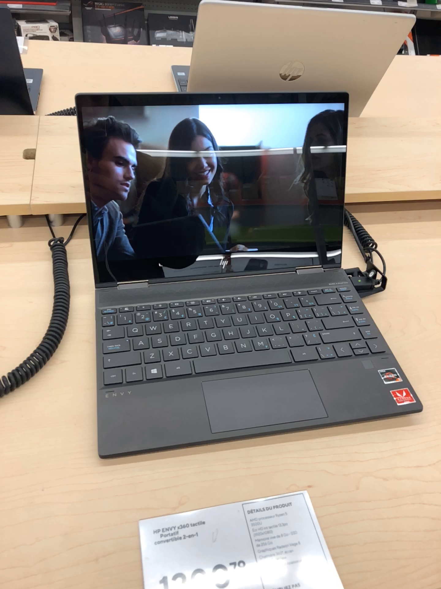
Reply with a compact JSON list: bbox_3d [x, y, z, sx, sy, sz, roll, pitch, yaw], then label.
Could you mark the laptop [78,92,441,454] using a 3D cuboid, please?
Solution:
[{"bbox_3d":[0.027,-0.046,0.473,0.294,0.182,0.289,-5,45,-13],"label":"laptop"}]
